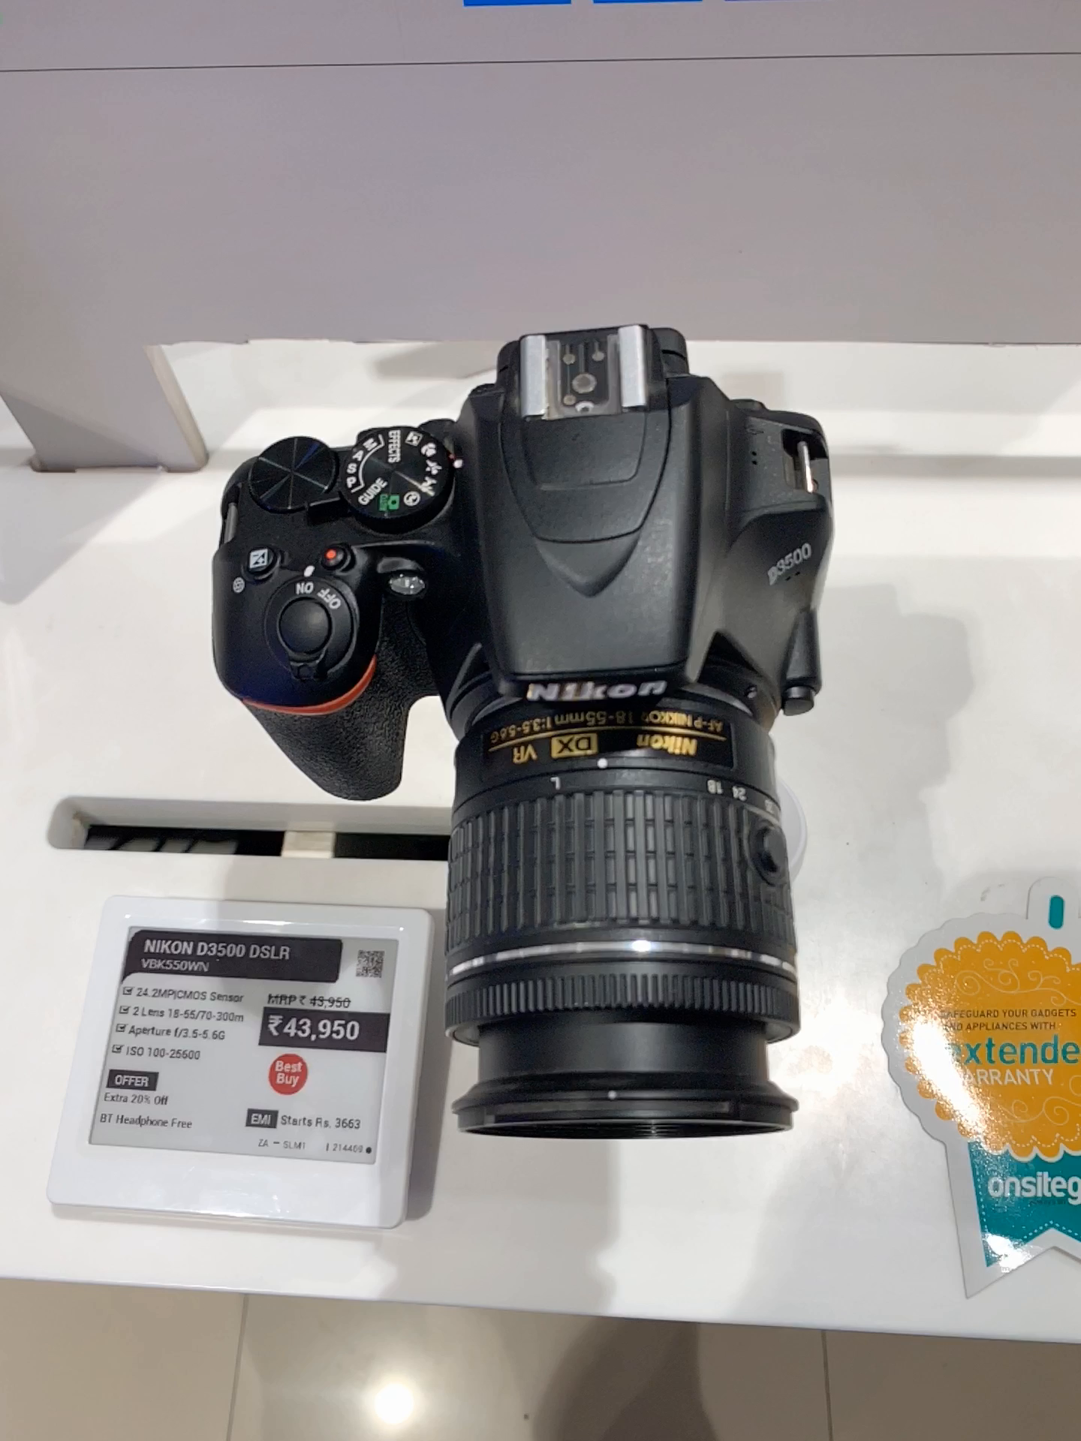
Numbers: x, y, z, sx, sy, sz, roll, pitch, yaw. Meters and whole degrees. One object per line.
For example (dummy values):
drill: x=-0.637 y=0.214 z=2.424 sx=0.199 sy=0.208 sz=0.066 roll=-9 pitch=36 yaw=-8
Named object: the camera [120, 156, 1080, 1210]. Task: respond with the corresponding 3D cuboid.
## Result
camera: x=0.007 y=-0.006 z=0.219 sx=0.120 sy=0.090 sz=0.180 roll=-3 pitch=63 yaw=3
